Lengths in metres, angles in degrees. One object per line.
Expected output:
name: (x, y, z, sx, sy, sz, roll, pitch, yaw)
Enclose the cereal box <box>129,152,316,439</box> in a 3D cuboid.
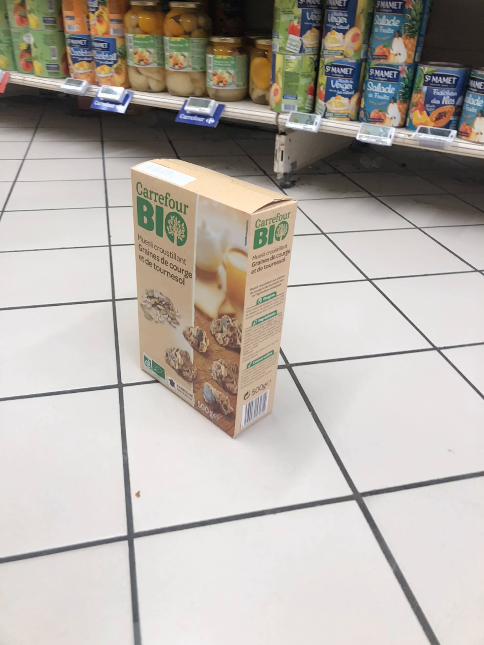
cereal box: (-0.028, -0.031, 0.528, 0.070, 0.229, 0.170, -24, 39, -39)
